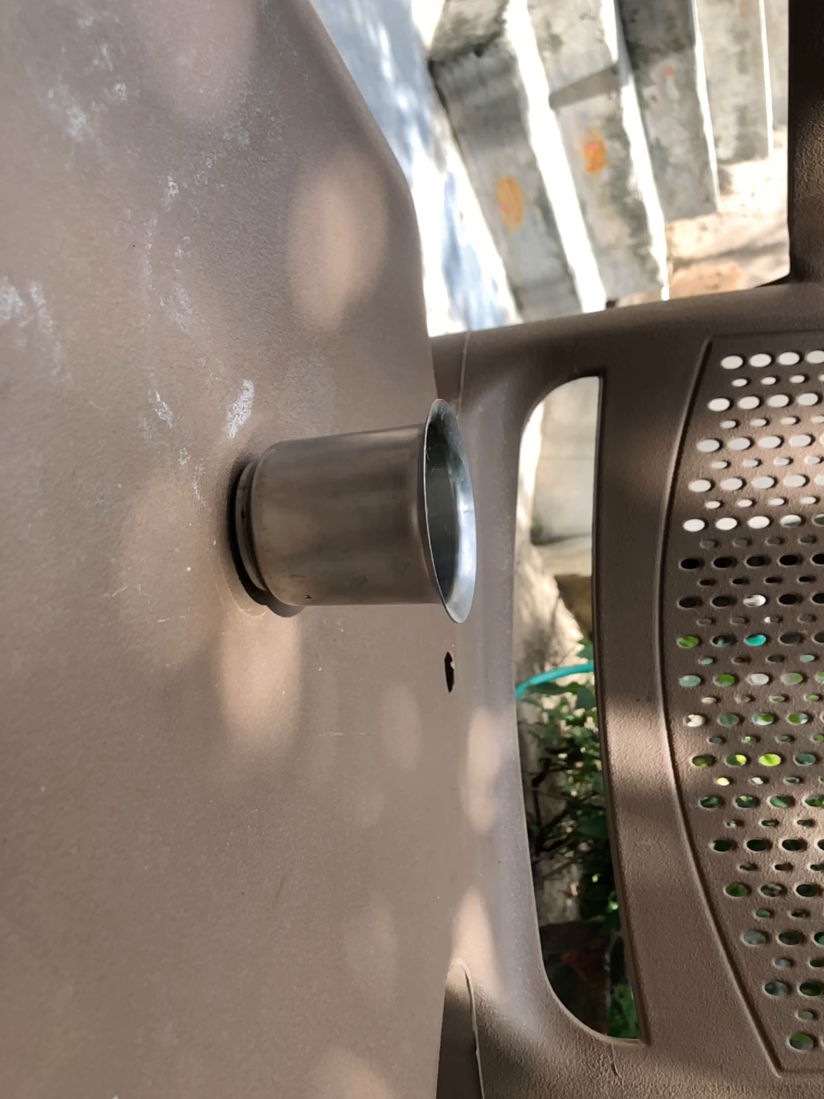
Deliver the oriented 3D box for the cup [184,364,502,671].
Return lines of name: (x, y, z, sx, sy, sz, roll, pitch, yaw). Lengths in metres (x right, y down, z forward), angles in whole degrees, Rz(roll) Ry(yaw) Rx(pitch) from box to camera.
cup: (-0.015, -0.009, 0.267, 0.060, 0.060, 0.060, -7, 90, -69)
